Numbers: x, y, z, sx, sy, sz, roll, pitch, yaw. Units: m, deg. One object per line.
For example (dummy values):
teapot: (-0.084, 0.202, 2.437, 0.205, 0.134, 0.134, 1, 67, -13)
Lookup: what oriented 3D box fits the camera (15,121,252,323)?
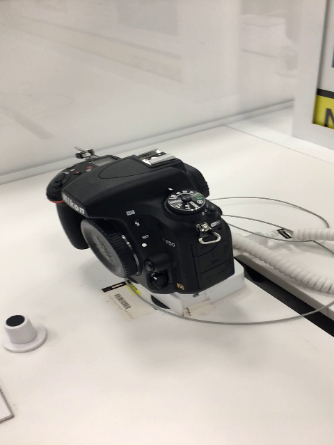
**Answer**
camera: (-0.026, -0.008, 0.332, 0.086, 0.092, 0.144, -29, 42, -26)
